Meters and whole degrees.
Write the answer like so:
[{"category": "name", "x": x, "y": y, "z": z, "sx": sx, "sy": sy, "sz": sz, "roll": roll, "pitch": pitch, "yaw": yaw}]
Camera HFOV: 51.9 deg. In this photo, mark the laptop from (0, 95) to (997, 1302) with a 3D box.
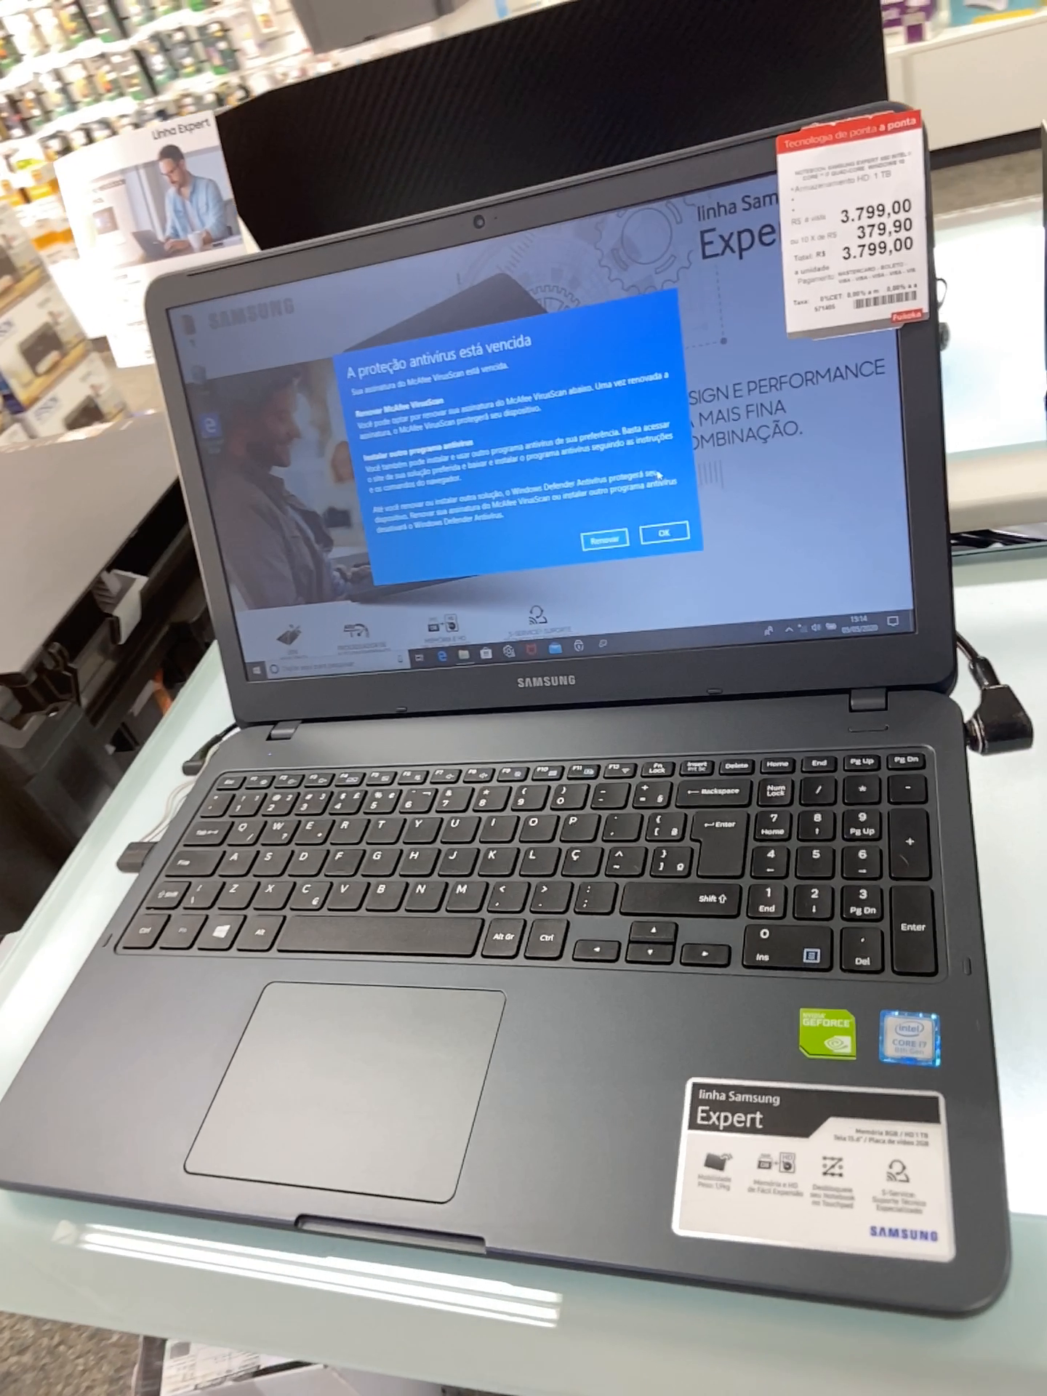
[{"category": "laptop", "x": -0.035, "y": -0.027, "z": 0.427, "sx": 0.371, "sy": 0.207, "sz": 0.373, "roll": -4, "pitch": 41, "yaw": 20}]
